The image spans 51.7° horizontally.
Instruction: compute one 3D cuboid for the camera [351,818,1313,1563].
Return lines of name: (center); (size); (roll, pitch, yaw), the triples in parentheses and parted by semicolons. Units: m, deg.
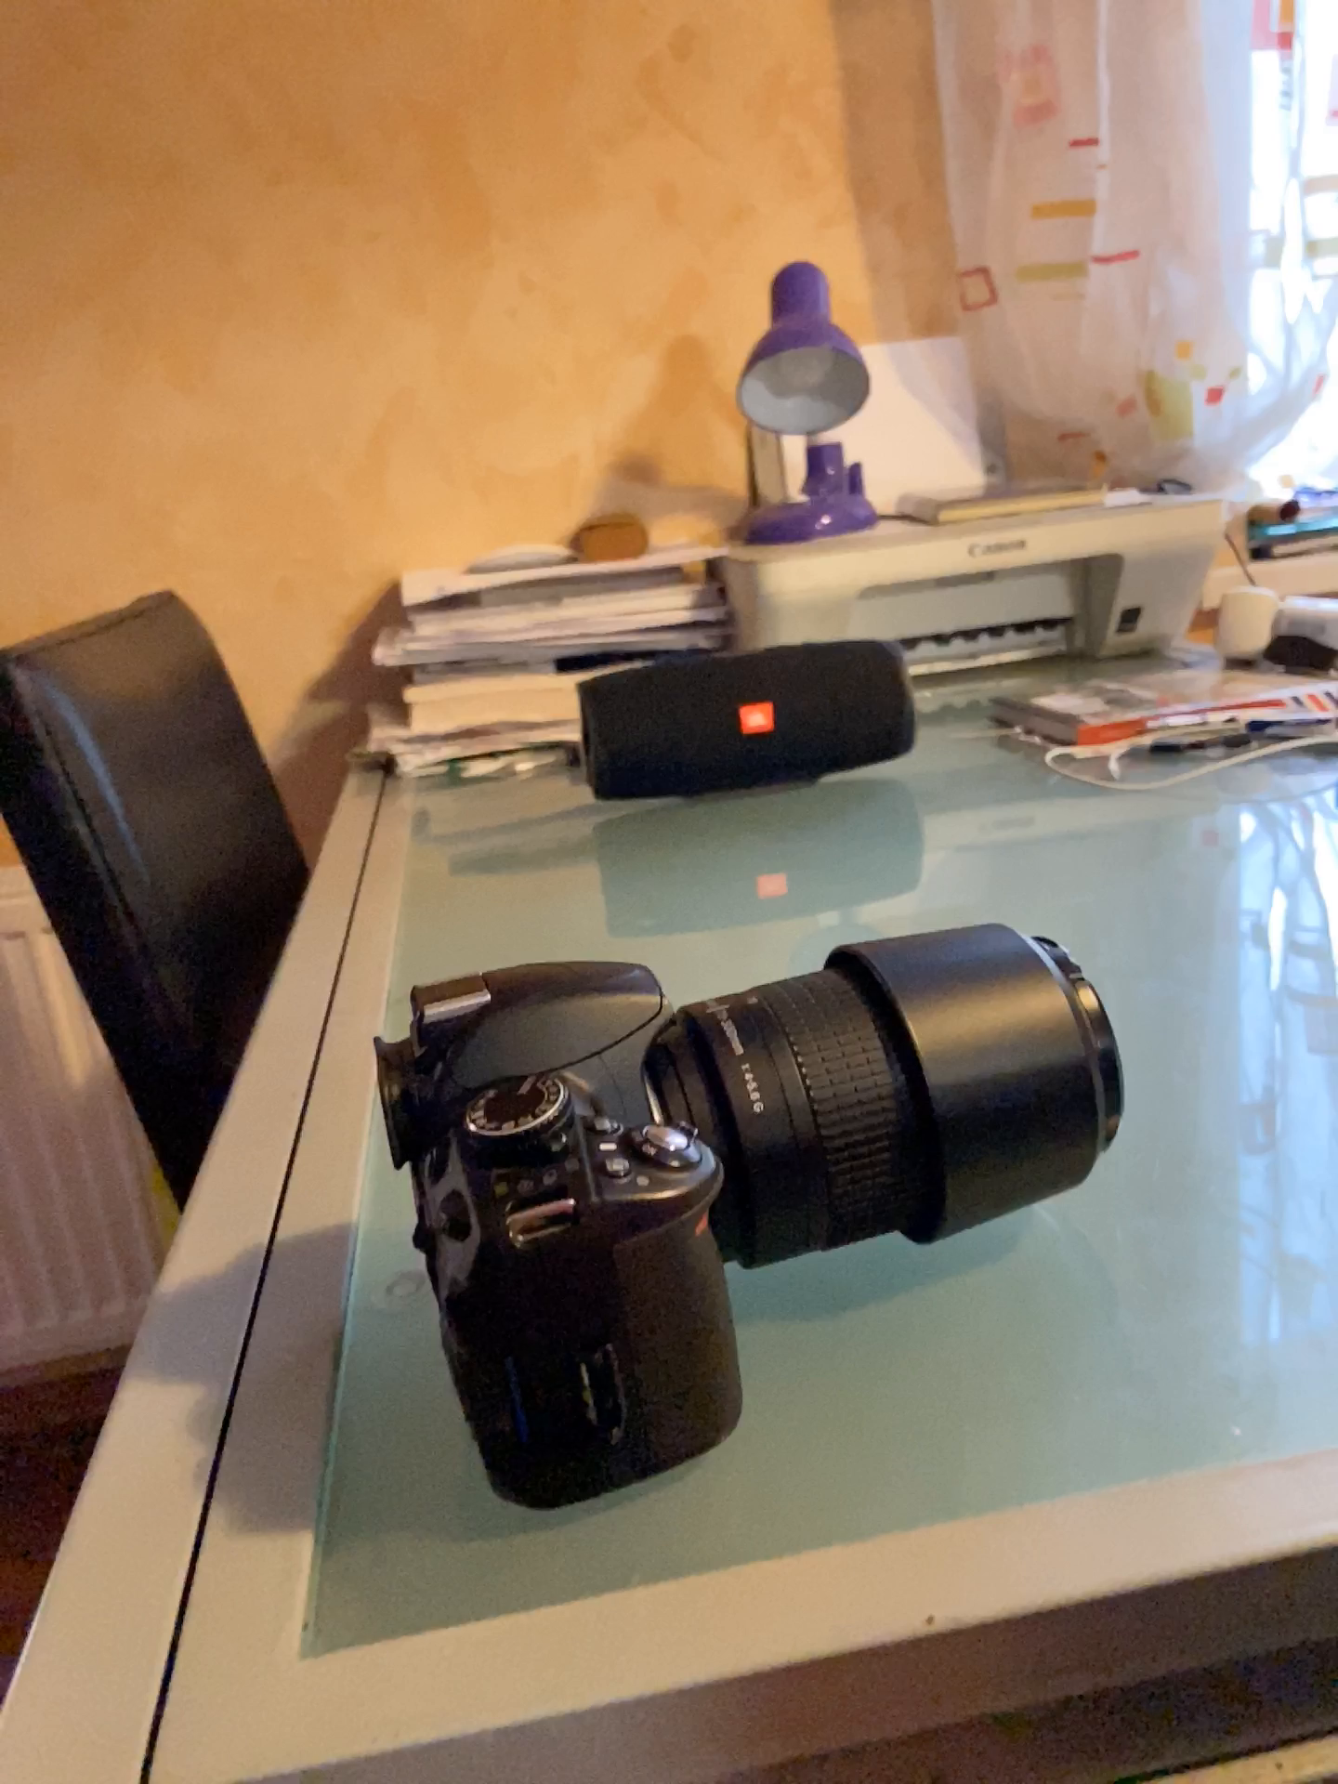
camera: (0.032, 0.059, 0.364); (0.208, 0.100, 0.135); (-10, 17, -12)
